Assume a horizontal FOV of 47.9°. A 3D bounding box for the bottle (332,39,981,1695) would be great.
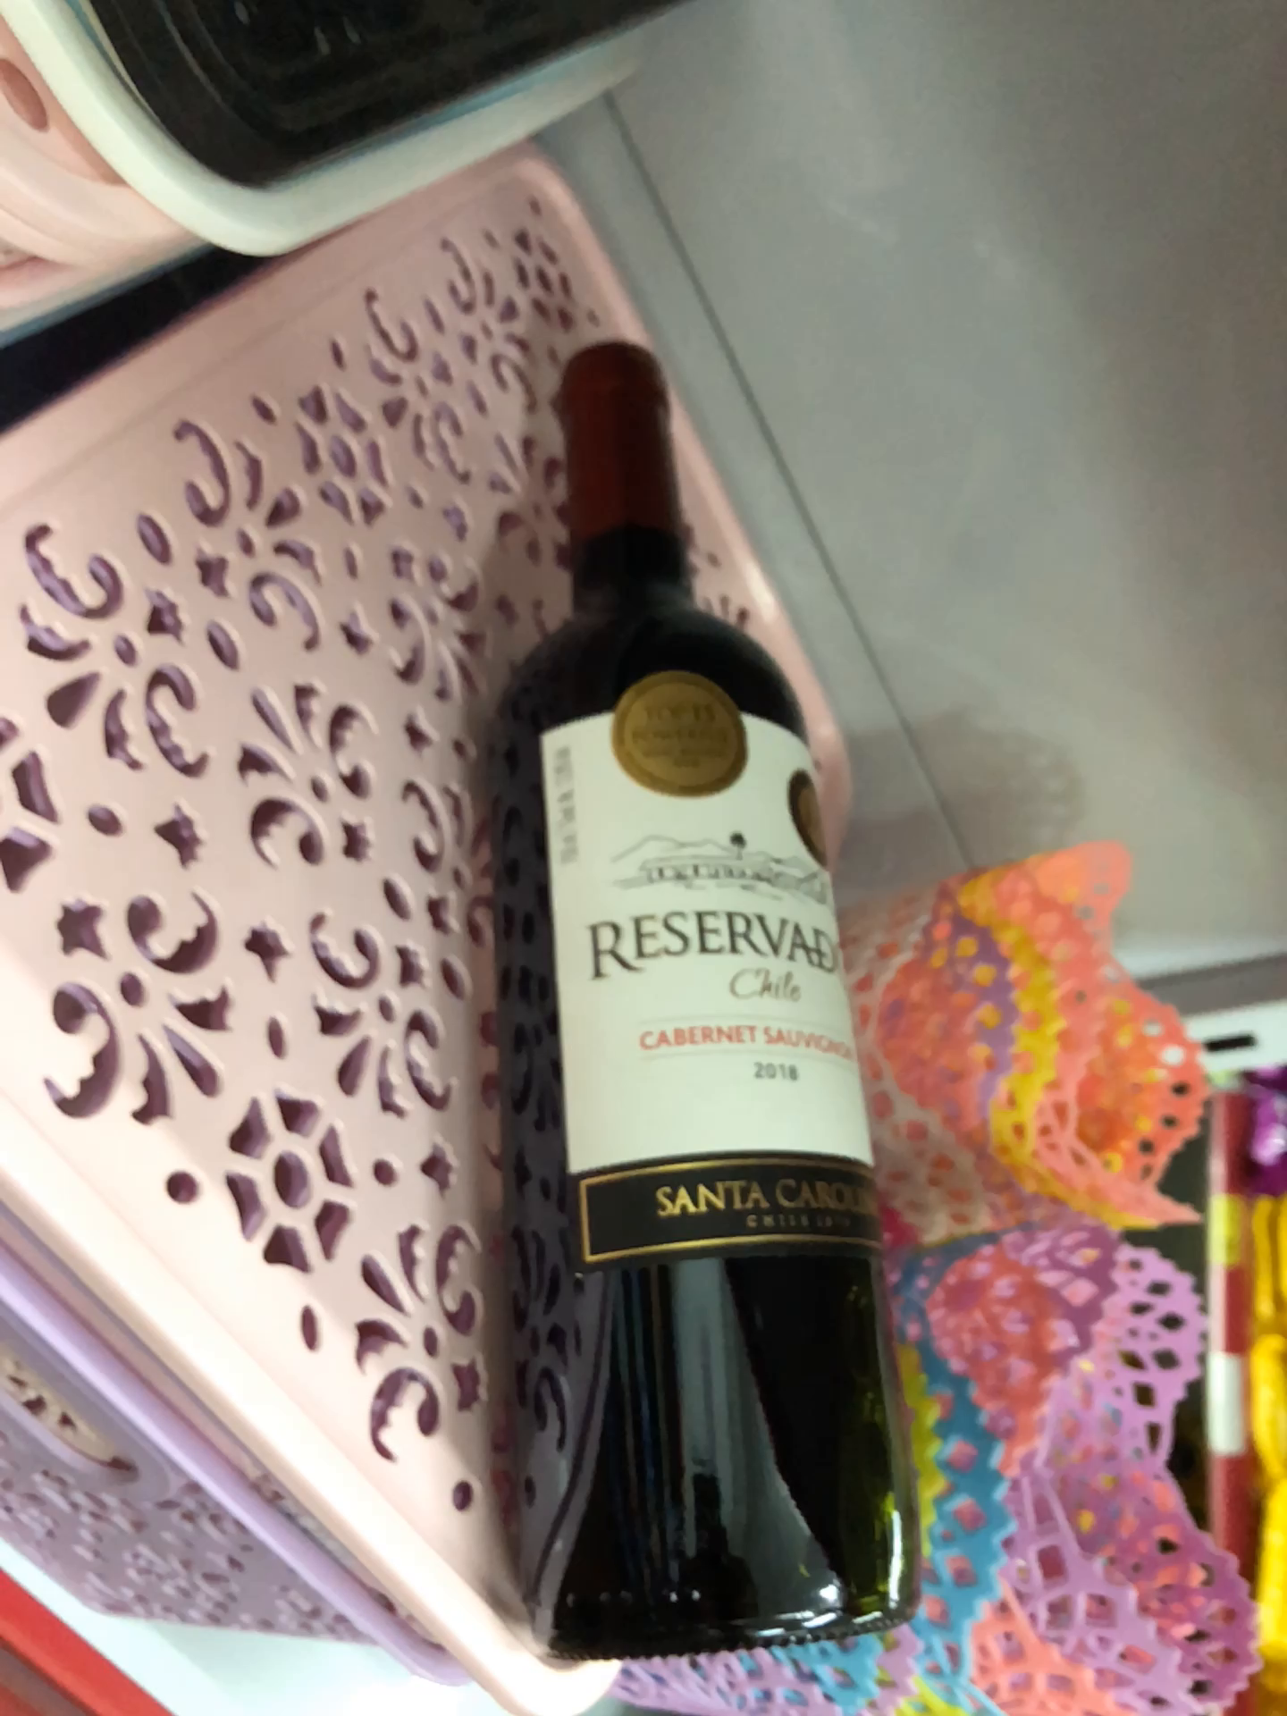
[{"bbox_3d":[-0.009,-0.020,0.308,0.080,0.060,0.330,28,46,-51],"label":"bottle"}]
